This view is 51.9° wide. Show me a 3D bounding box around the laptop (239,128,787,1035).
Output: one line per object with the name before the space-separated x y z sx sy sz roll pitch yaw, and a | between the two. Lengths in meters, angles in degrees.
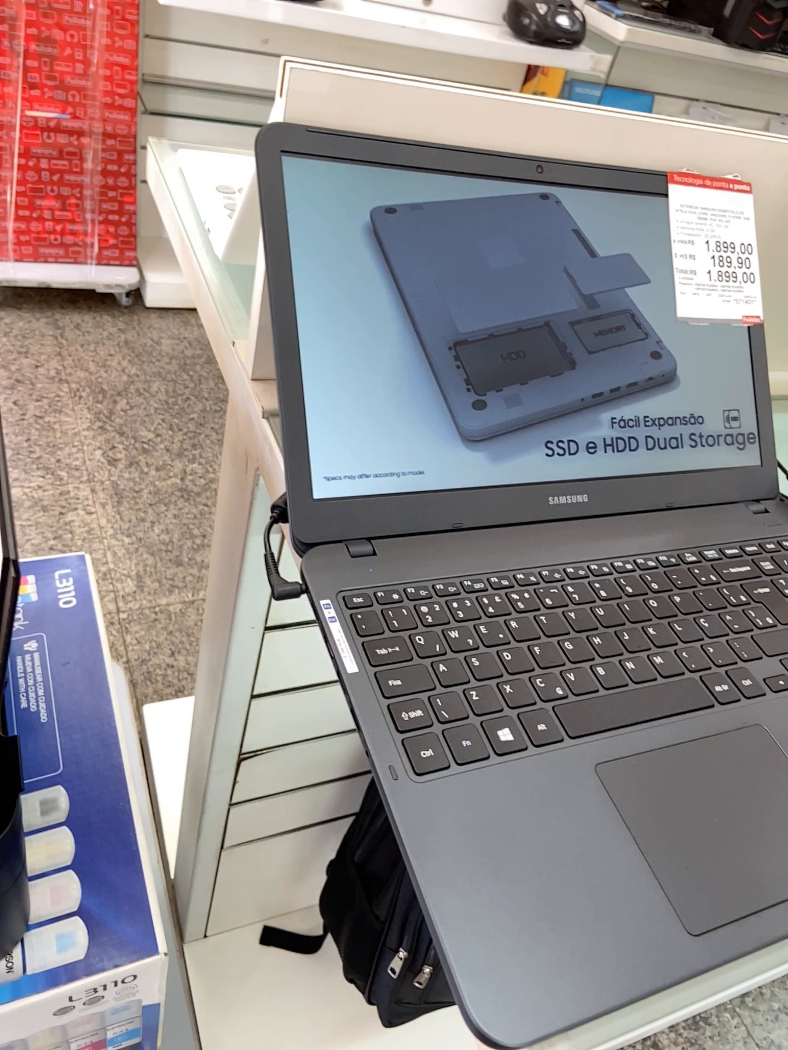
laptop | 0.148 -0.038 0.441 0.368 0.156 0.413 -5 45 -24
